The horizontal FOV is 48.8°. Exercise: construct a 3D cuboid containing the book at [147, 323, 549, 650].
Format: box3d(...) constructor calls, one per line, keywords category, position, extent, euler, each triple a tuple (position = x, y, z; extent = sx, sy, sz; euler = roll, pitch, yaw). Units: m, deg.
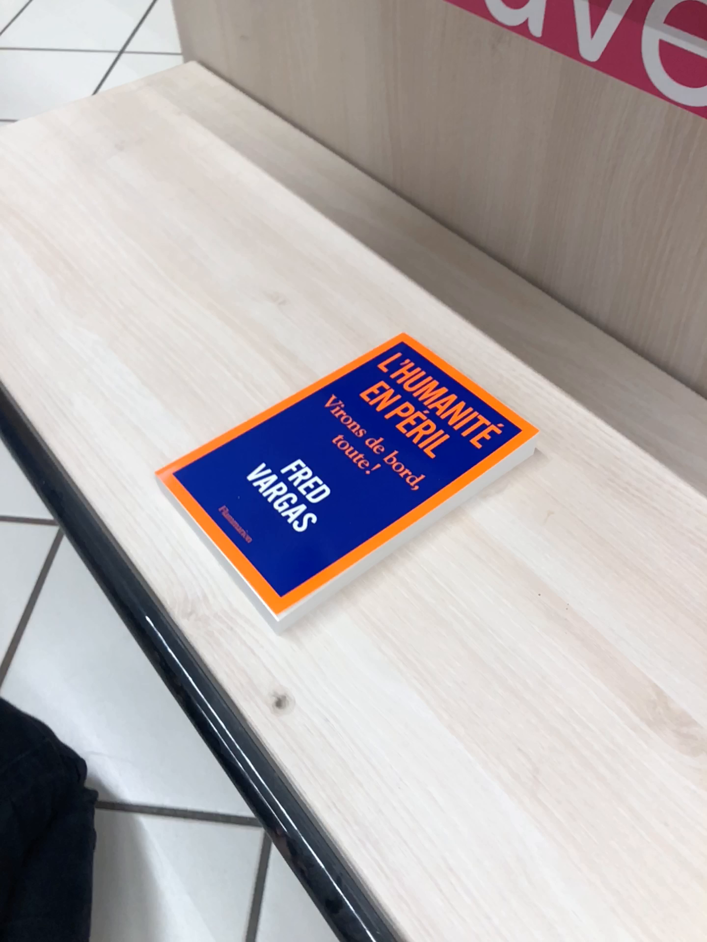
box3d(category="book", position=(-0.001, -0.004, 0.492), extent=(0.208, 0.030, 0.137), euler=(-33, 57, -23))
